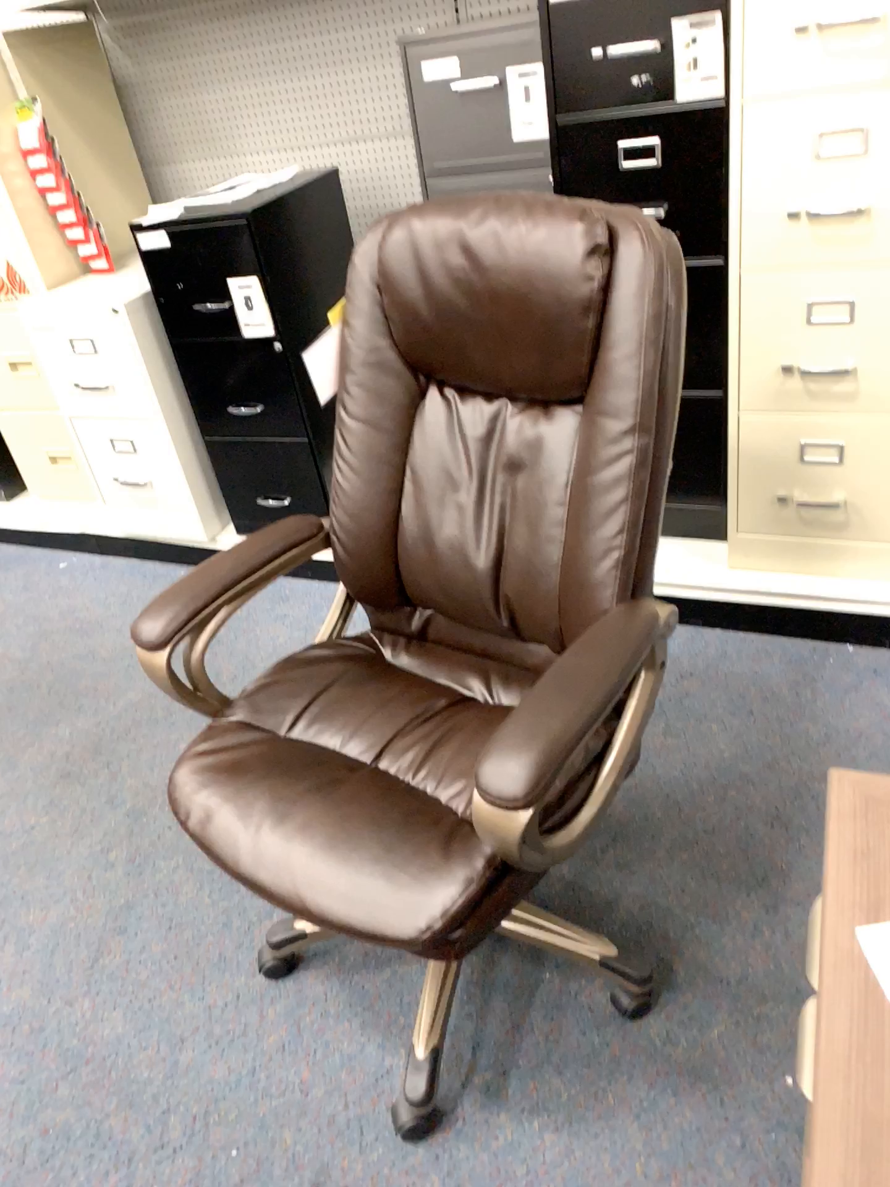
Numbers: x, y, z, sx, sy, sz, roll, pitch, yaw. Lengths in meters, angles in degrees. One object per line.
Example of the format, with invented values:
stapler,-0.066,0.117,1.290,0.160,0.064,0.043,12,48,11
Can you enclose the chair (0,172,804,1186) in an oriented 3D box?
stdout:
chair,-0.031,0.088,1.320,0.726,1.112,0.813,18,43,37
